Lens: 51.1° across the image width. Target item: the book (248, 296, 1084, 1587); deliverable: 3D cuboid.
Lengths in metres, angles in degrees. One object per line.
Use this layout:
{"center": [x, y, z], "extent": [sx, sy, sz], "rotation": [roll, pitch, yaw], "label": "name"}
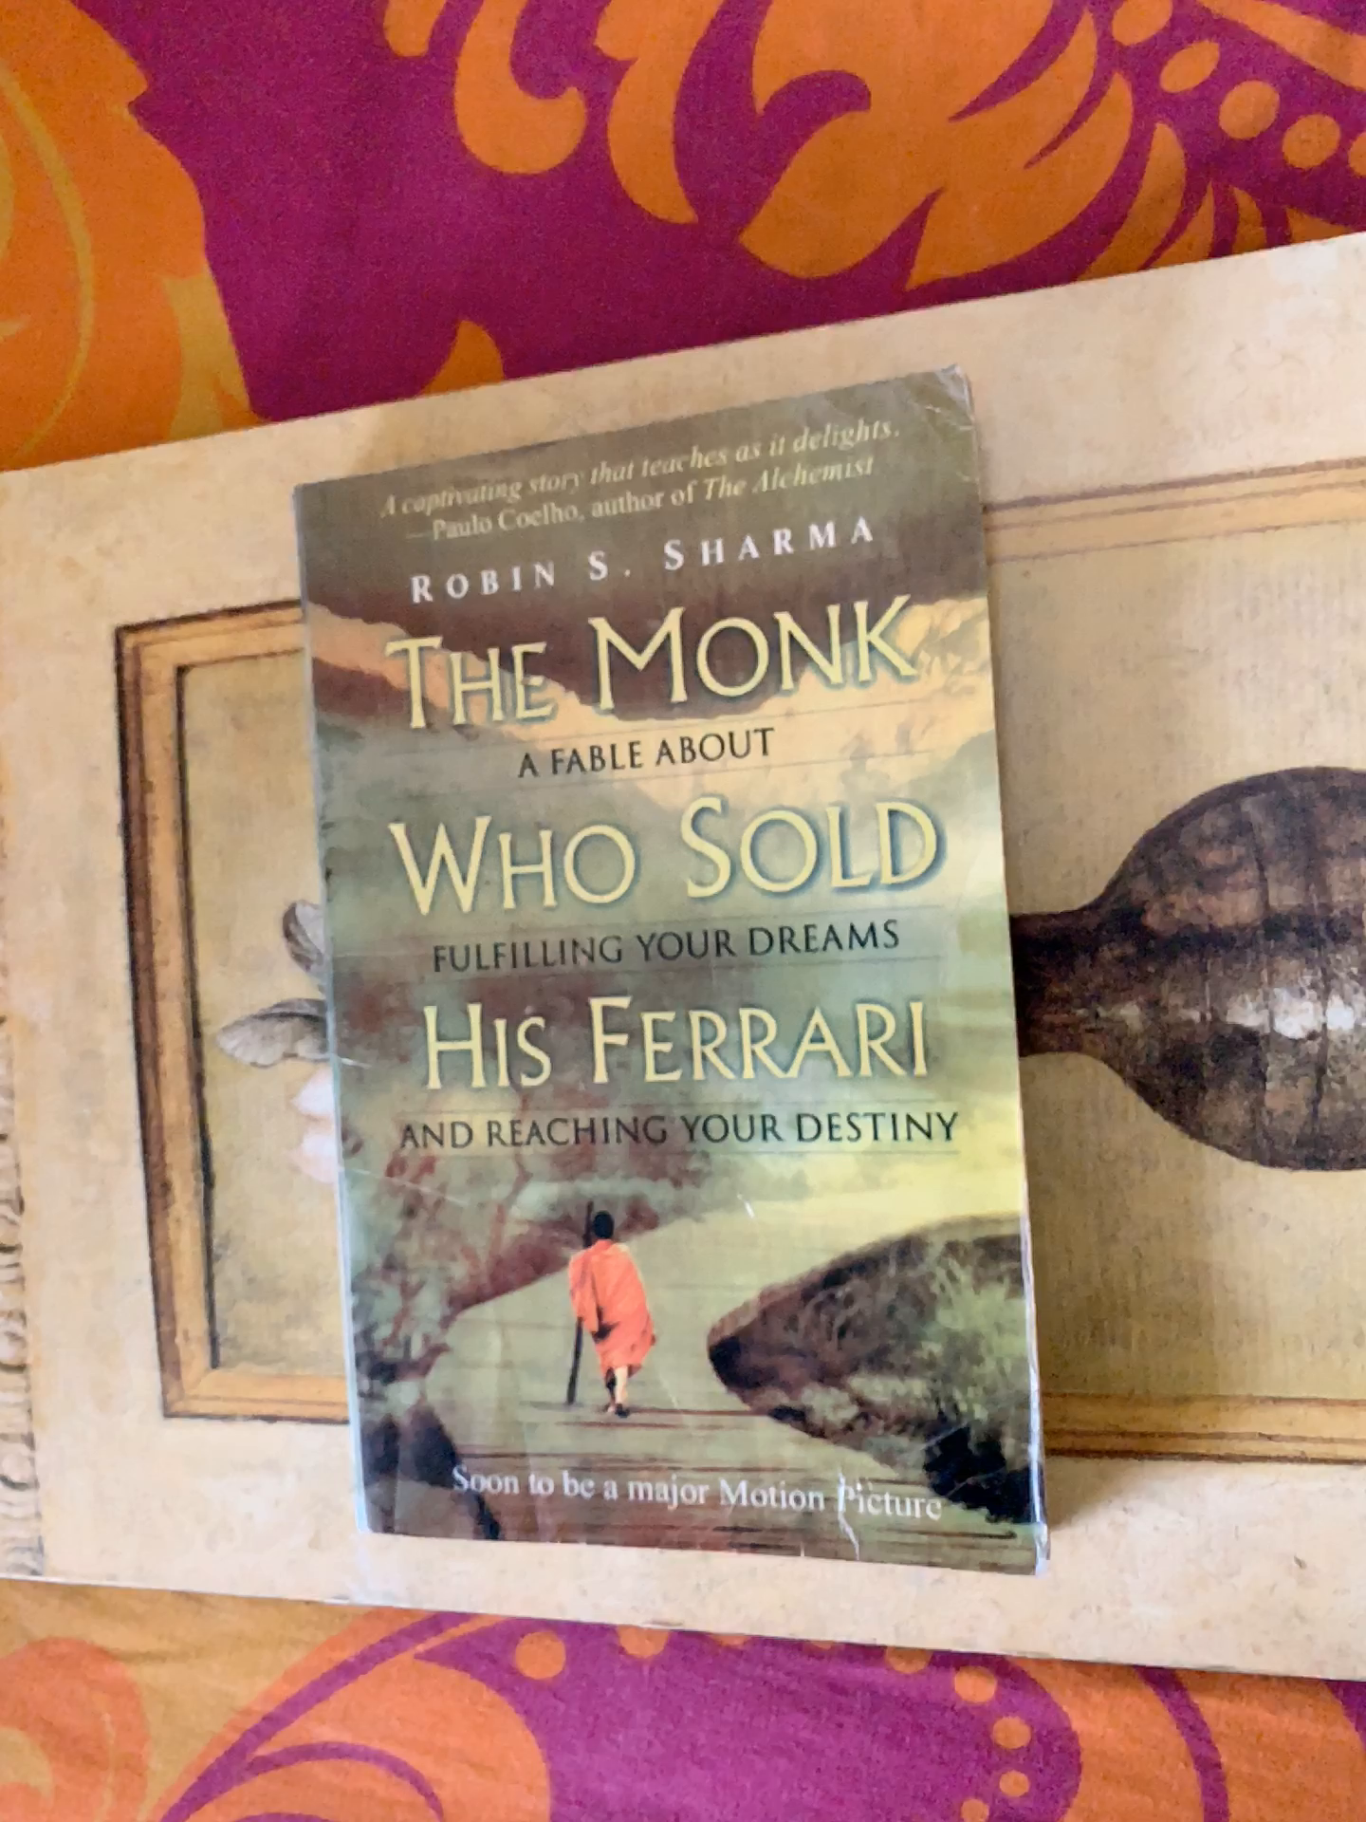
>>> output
{"center": [-0.004, 0.009, 0.252], "extent": [0.130, 0.030, 0.200], "rotation": [-4, 89, 15], "label": "book"}
